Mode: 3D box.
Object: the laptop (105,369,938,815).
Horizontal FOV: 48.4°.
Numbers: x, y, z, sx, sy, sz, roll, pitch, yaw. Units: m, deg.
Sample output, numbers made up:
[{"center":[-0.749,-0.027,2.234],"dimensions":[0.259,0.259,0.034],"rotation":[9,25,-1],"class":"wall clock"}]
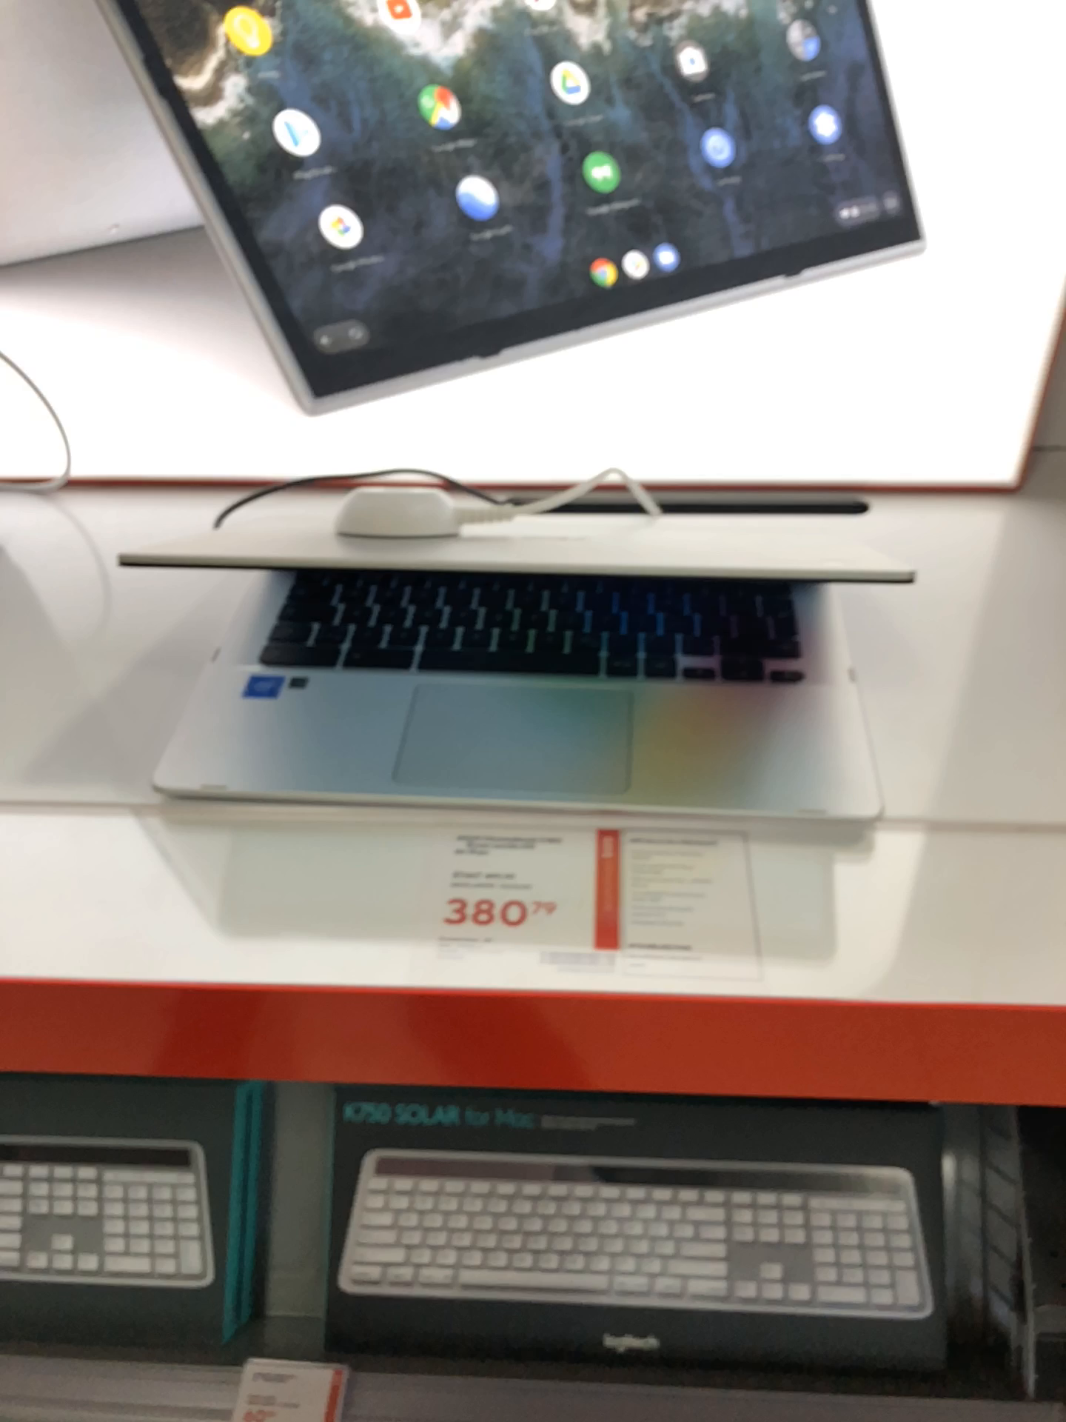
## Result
[{"center":[0.003,-0.070,0.569],"dimensions":[0.317,0.100,0.226],"rotation":[2,38,4],"class":"laptop"}]
